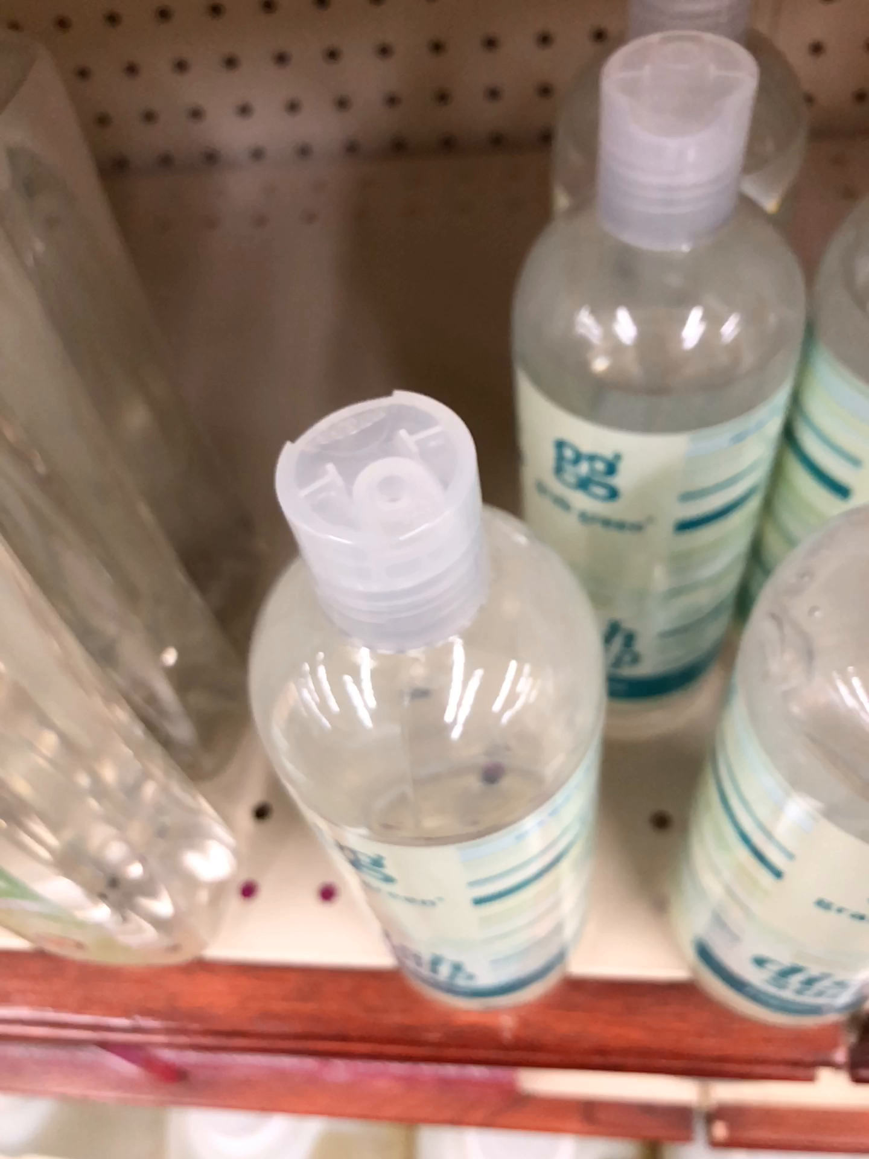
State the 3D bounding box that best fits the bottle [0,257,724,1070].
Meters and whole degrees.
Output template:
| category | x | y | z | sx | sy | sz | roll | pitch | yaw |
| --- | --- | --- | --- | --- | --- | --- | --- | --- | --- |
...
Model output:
| category | x | y | z | sx | sy | sz | roll | pitch | yaw |
| --- | --- | --- | --- | --- | --- | --- | --- | --- | --- |
| bottle | 0.002 | 0.041 | 0.202 | 0.070 | 0.200 | 0.060 | 18 | 62 | 18 |
